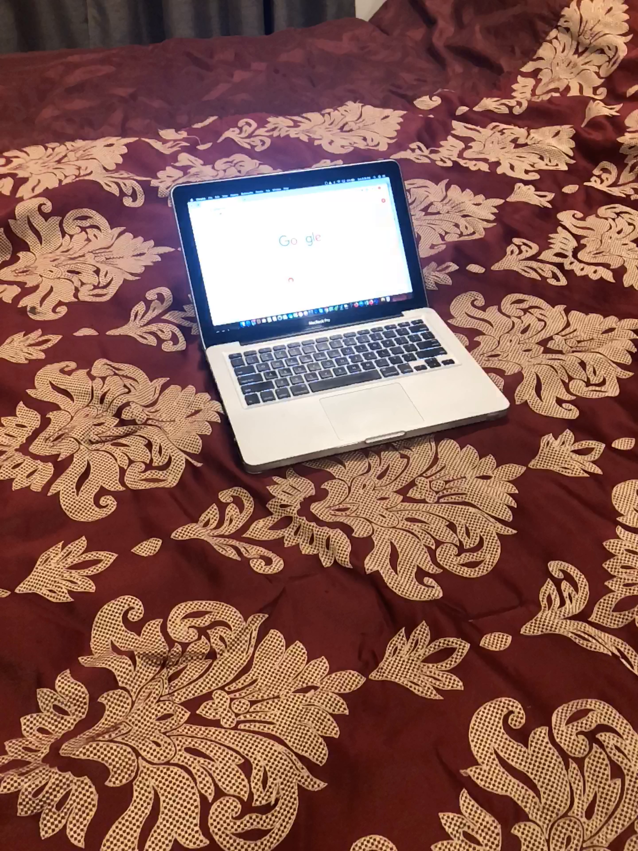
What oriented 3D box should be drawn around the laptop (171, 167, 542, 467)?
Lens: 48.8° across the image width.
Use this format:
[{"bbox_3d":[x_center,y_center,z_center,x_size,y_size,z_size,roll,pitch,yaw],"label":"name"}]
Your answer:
[{"bbox_3d":[0.017,-0.146,0.793,0.292,0.133,0.344,-12,44,-14],"label":"laptop"}]
